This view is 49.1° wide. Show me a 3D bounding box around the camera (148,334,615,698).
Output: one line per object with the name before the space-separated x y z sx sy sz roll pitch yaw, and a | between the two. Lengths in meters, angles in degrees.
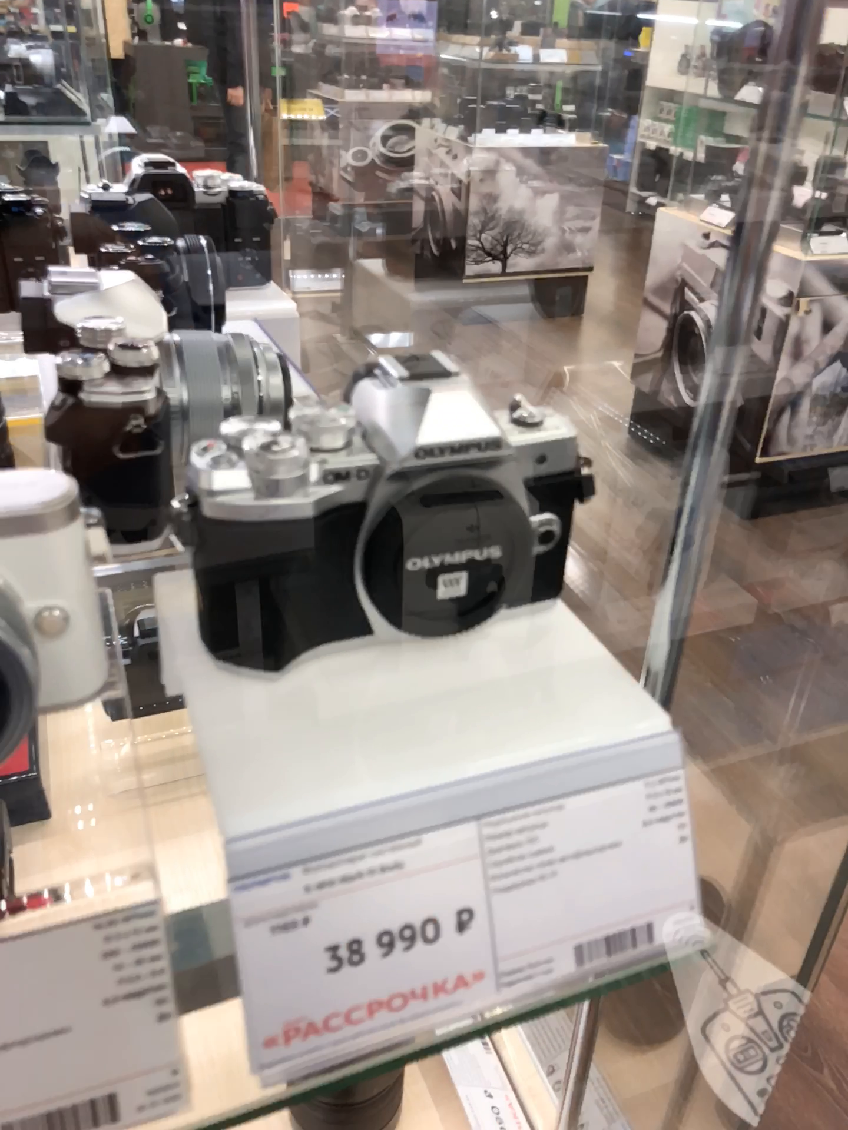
camera | -0.015 -0.021 0.290 0.122 0.077 0.065 -10 33 -20

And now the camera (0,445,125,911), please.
camera | -0.147 0.021 0.234 0.124 0.068 0.068 -9 33 -19

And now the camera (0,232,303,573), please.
camera | -0.120 -0.075 0.377 0.101 0.084 0.137 -11 33 -23
